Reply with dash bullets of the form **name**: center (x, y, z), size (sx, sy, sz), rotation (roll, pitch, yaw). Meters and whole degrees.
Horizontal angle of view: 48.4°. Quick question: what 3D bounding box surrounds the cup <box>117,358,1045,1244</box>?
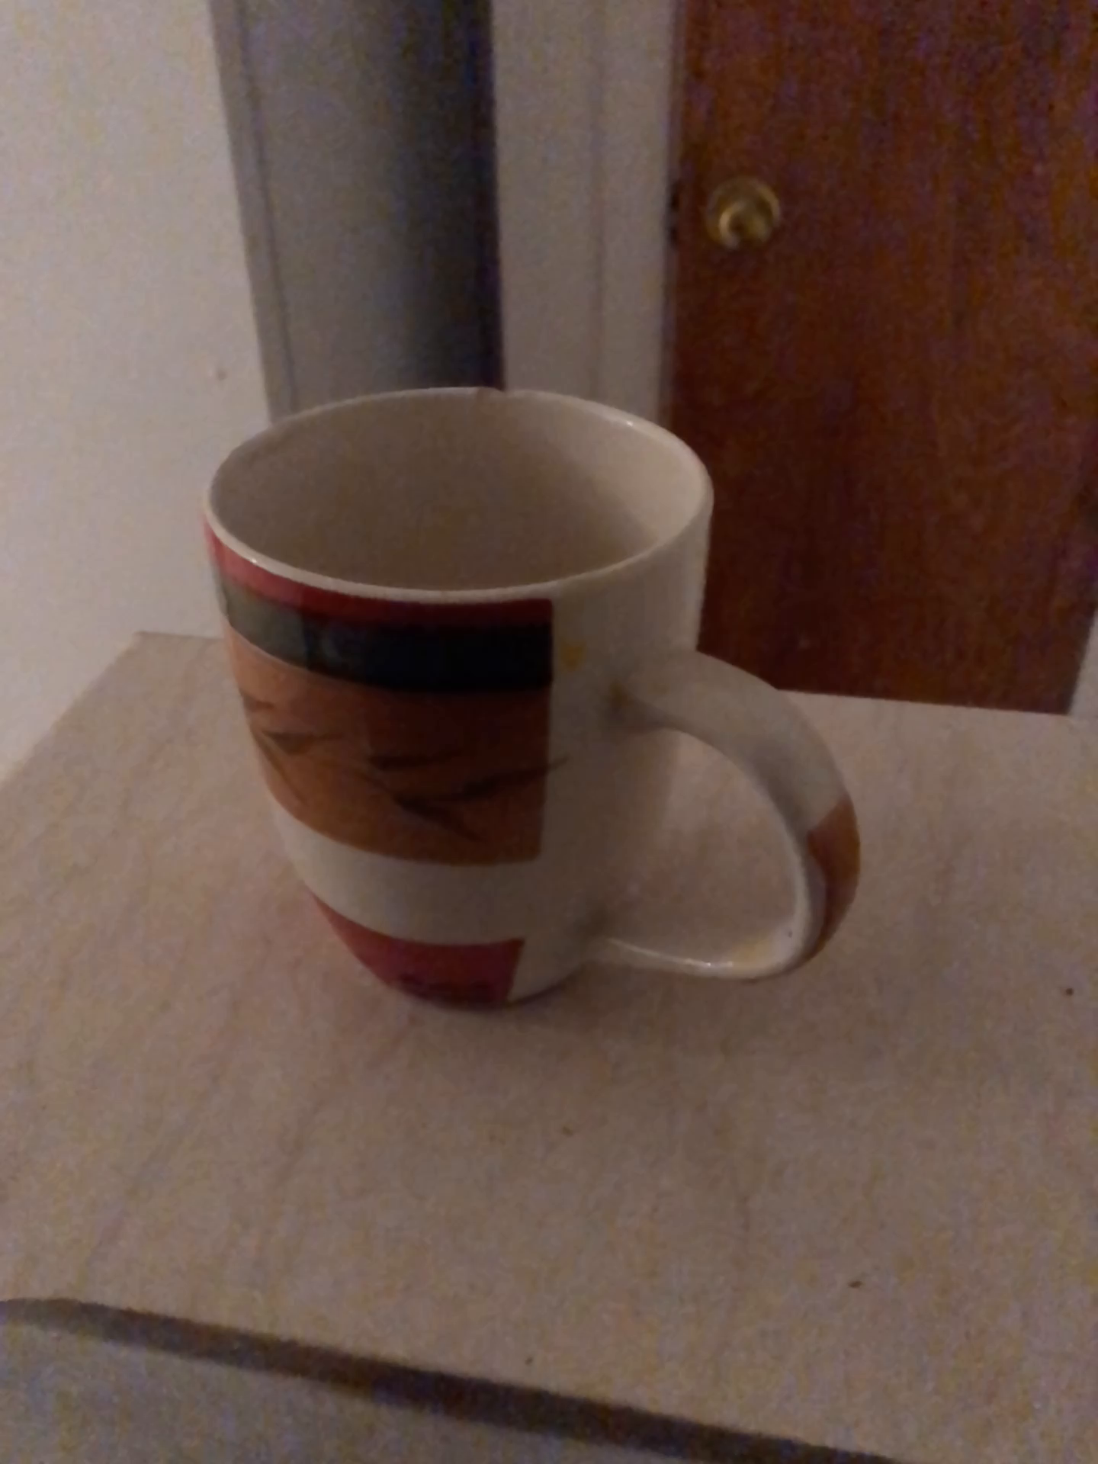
- **cup**: center (0.005, 0.000, 0.260), size (0.143, 0.109, 0.101), rotation (23, 40, 31)
